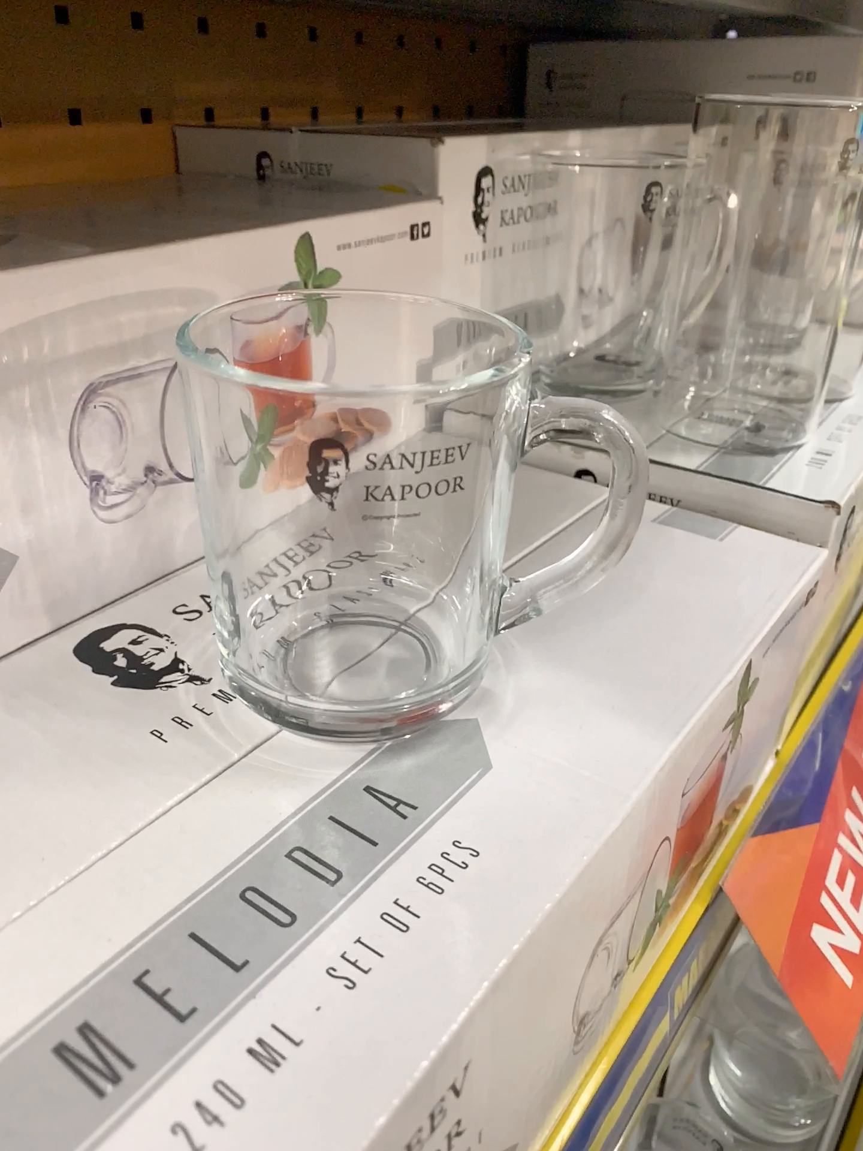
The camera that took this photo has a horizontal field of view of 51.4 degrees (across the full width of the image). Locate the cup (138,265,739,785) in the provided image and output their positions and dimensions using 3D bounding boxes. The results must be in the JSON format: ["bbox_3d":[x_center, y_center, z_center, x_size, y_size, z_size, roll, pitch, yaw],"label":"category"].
[{"bbox_3d":[-0.005,-0.018,0.192,0.100,0.080,0.070,-6,29,-15],"label":"cup"}]
